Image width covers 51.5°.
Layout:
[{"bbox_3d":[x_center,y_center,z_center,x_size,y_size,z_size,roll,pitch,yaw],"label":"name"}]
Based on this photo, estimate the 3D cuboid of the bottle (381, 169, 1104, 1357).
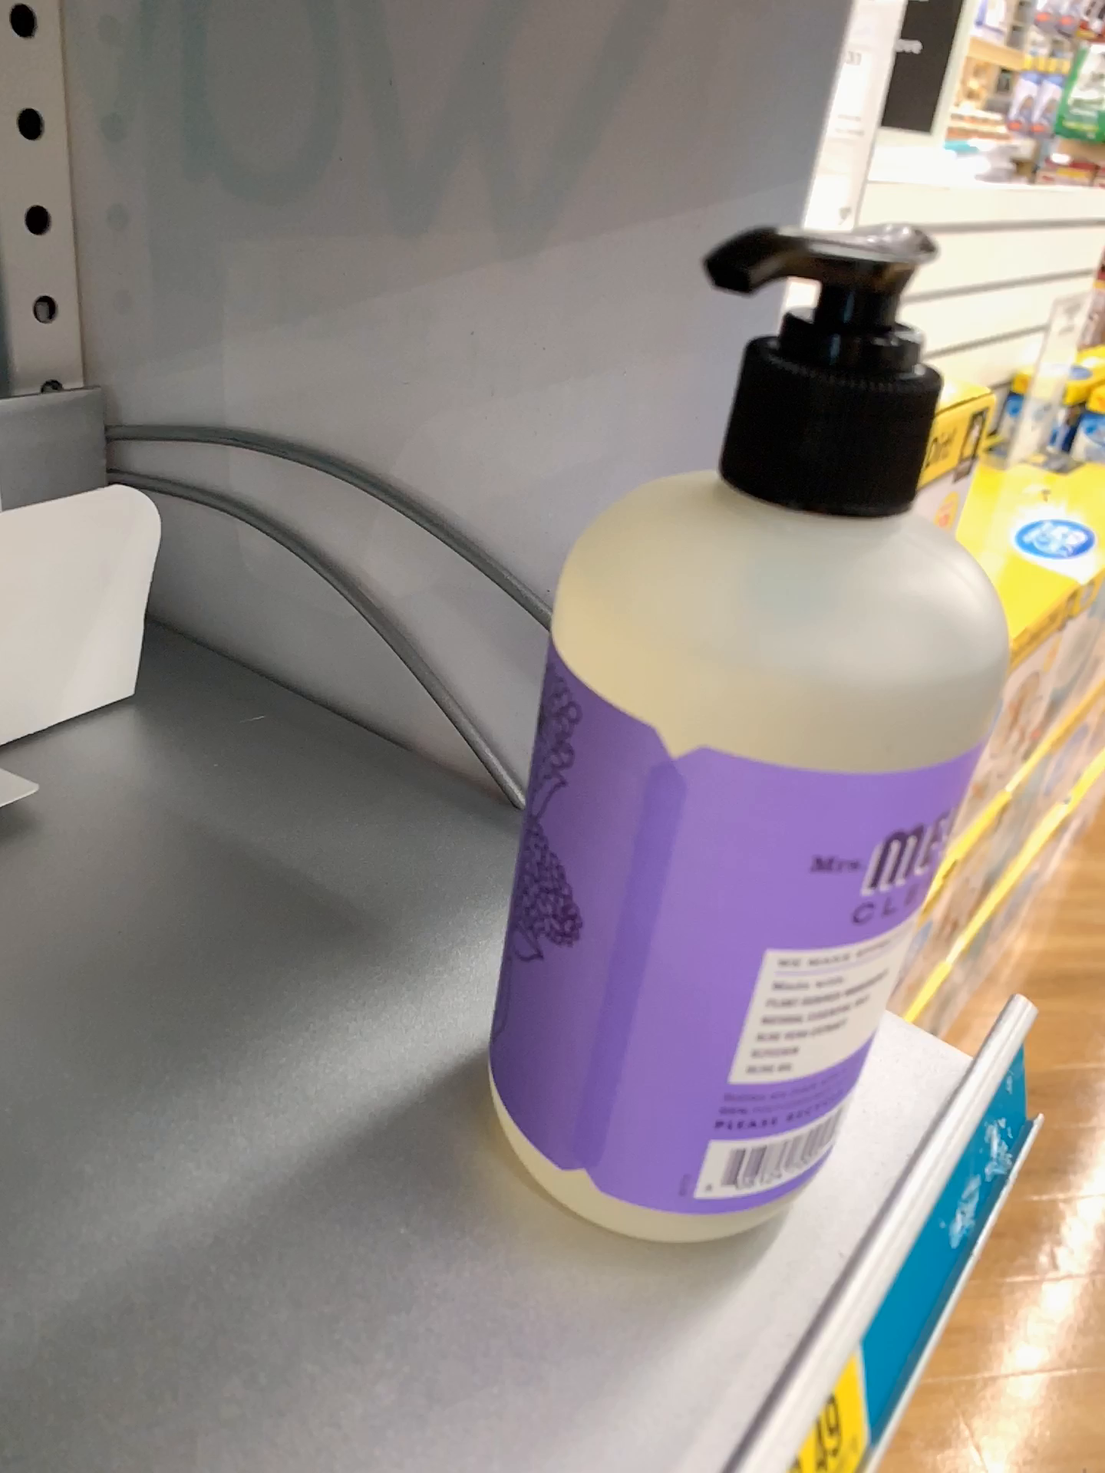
[{"bbox_3d":[0.028,0.002,0.185,0.070,0.159,0.080,21,32,22],"label":"bottle"}]
